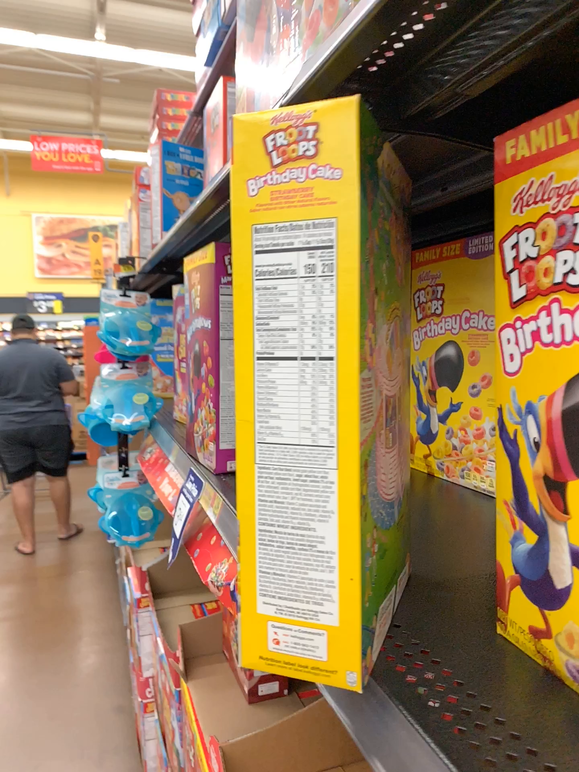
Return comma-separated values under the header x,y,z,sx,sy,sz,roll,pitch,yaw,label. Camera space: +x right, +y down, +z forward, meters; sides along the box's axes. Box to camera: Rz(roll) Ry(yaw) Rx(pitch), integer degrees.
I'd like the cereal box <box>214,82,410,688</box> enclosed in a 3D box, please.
x,y,z,sx,sy,sz,roll,pitch,yaw,label
0.029,-0.004,0.430,0.080,0.330,0.200,2,5,20,cereal box
